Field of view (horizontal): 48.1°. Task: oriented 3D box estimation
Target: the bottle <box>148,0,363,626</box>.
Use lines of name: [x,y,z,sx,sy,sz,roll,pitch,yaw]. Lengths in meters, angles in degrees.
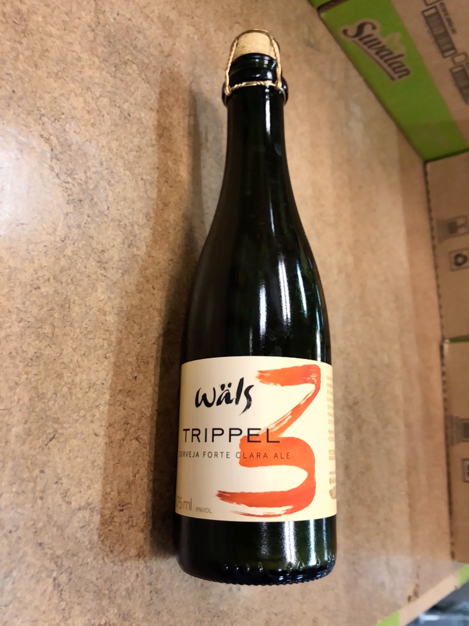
bottle: [0.013,-0.028,0.231,0.070,0.050,0.270,20,66,-52]
